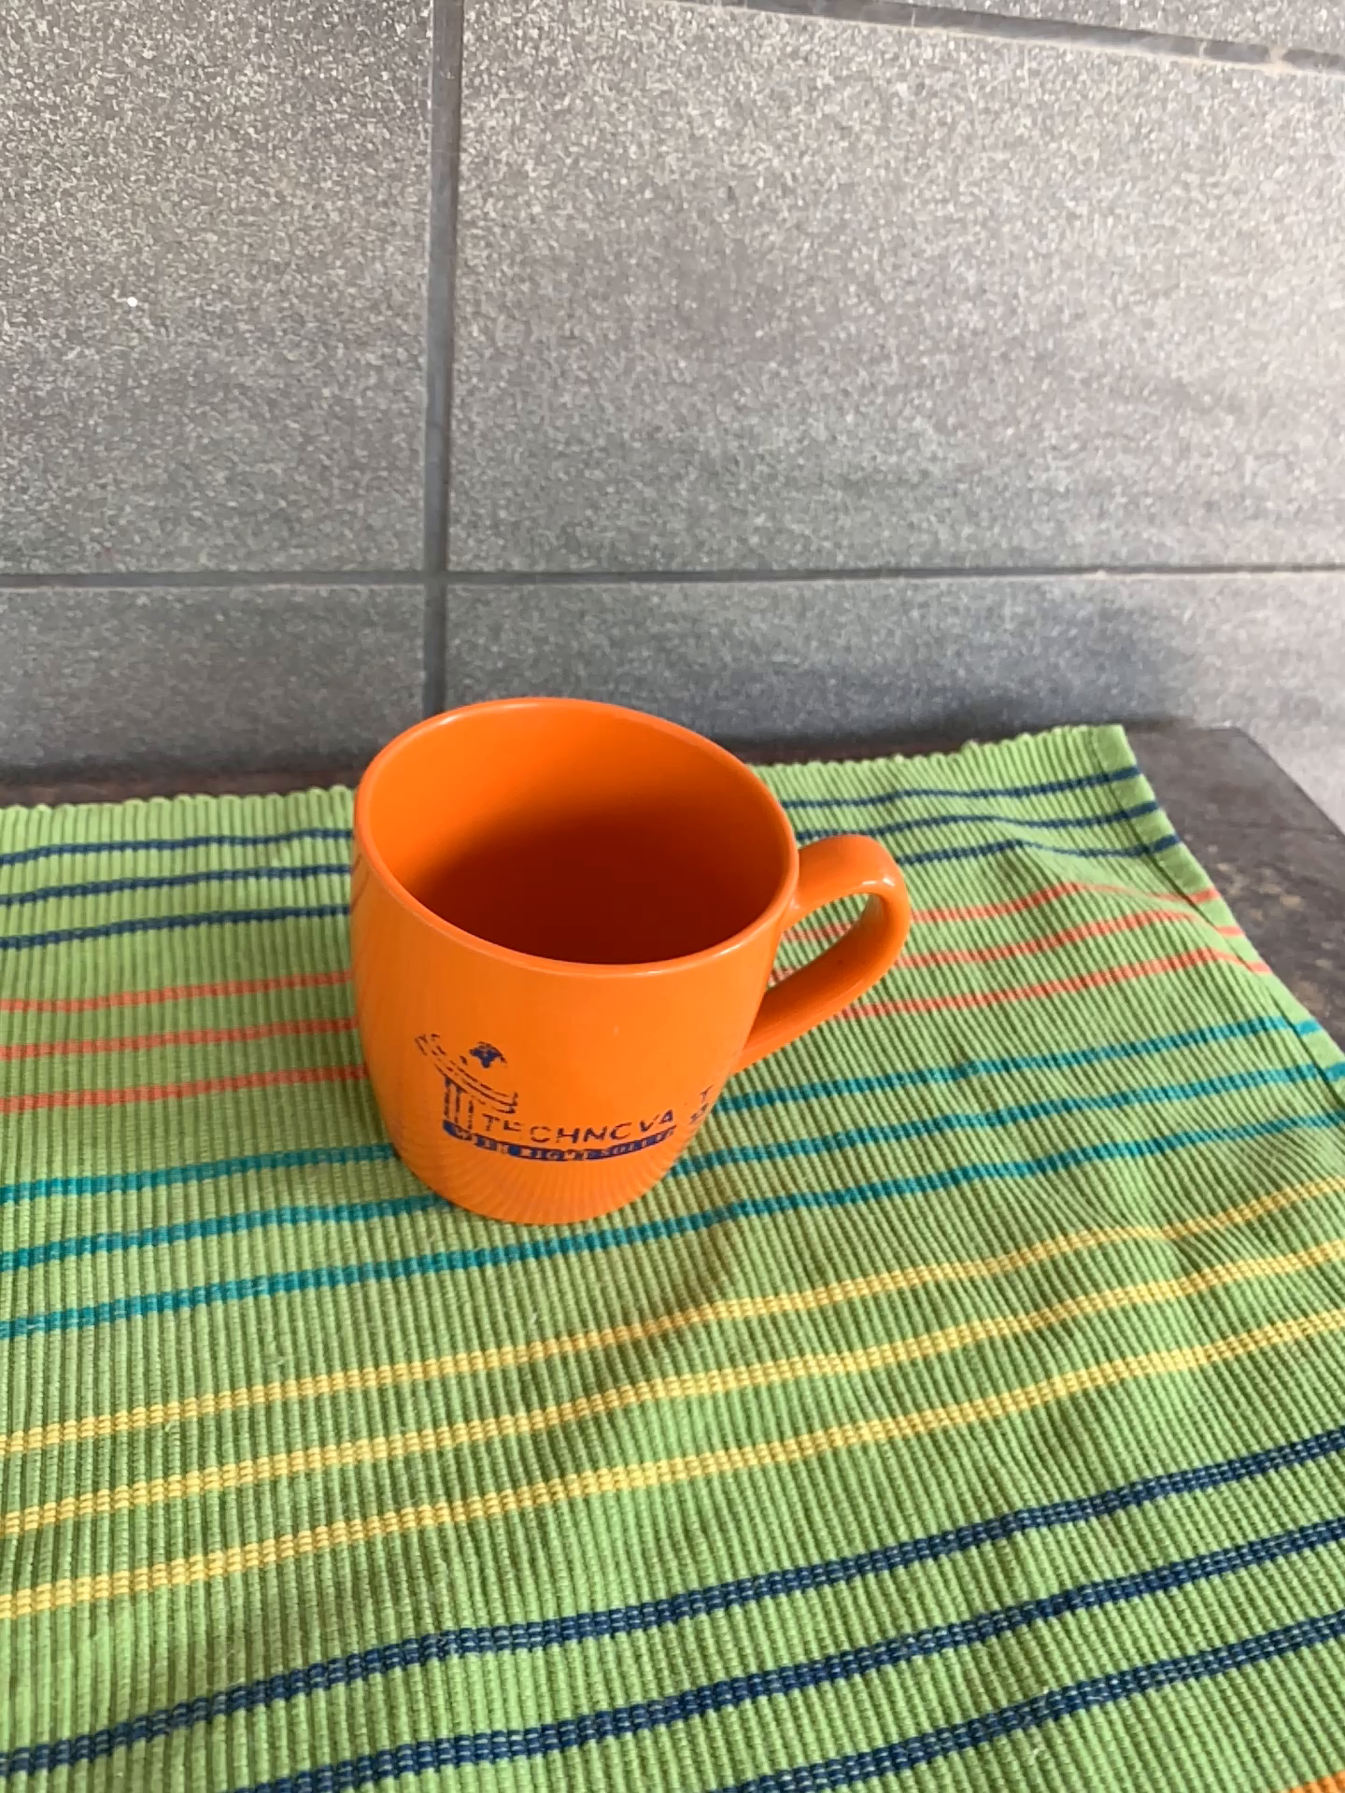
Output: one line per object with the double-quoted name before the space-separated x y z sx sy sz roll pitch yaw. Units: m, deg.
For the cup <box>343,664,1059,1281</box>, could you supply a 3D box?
"cup" -0.003 0.011 0.298 0.120 0.080 0.090 -5 41 -17
